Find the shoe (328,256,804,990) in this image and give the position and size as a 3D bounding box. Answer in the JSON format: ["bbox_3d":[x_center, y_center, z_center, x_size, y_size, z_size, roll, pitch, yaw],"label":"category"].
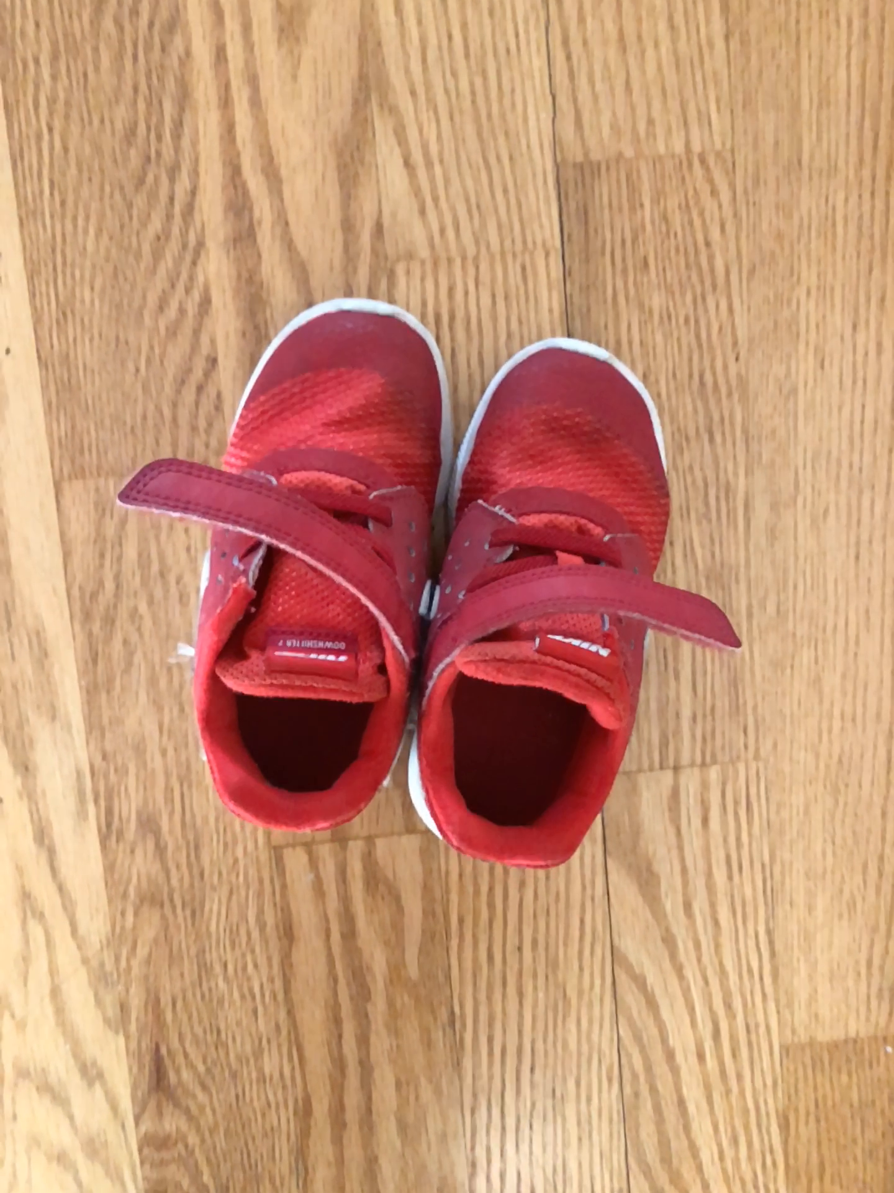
[{"bbox_3d":[0.028,0.007,0.291,0.088,0.069,0.177,11,95,-4],"label":"shoe"}]

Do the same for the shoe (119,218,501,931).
[{"bbox_3d":[-0.038,-0.005,0.288,0.080,0.069,0.175,6,95,-3],"label":"shoe"}]
